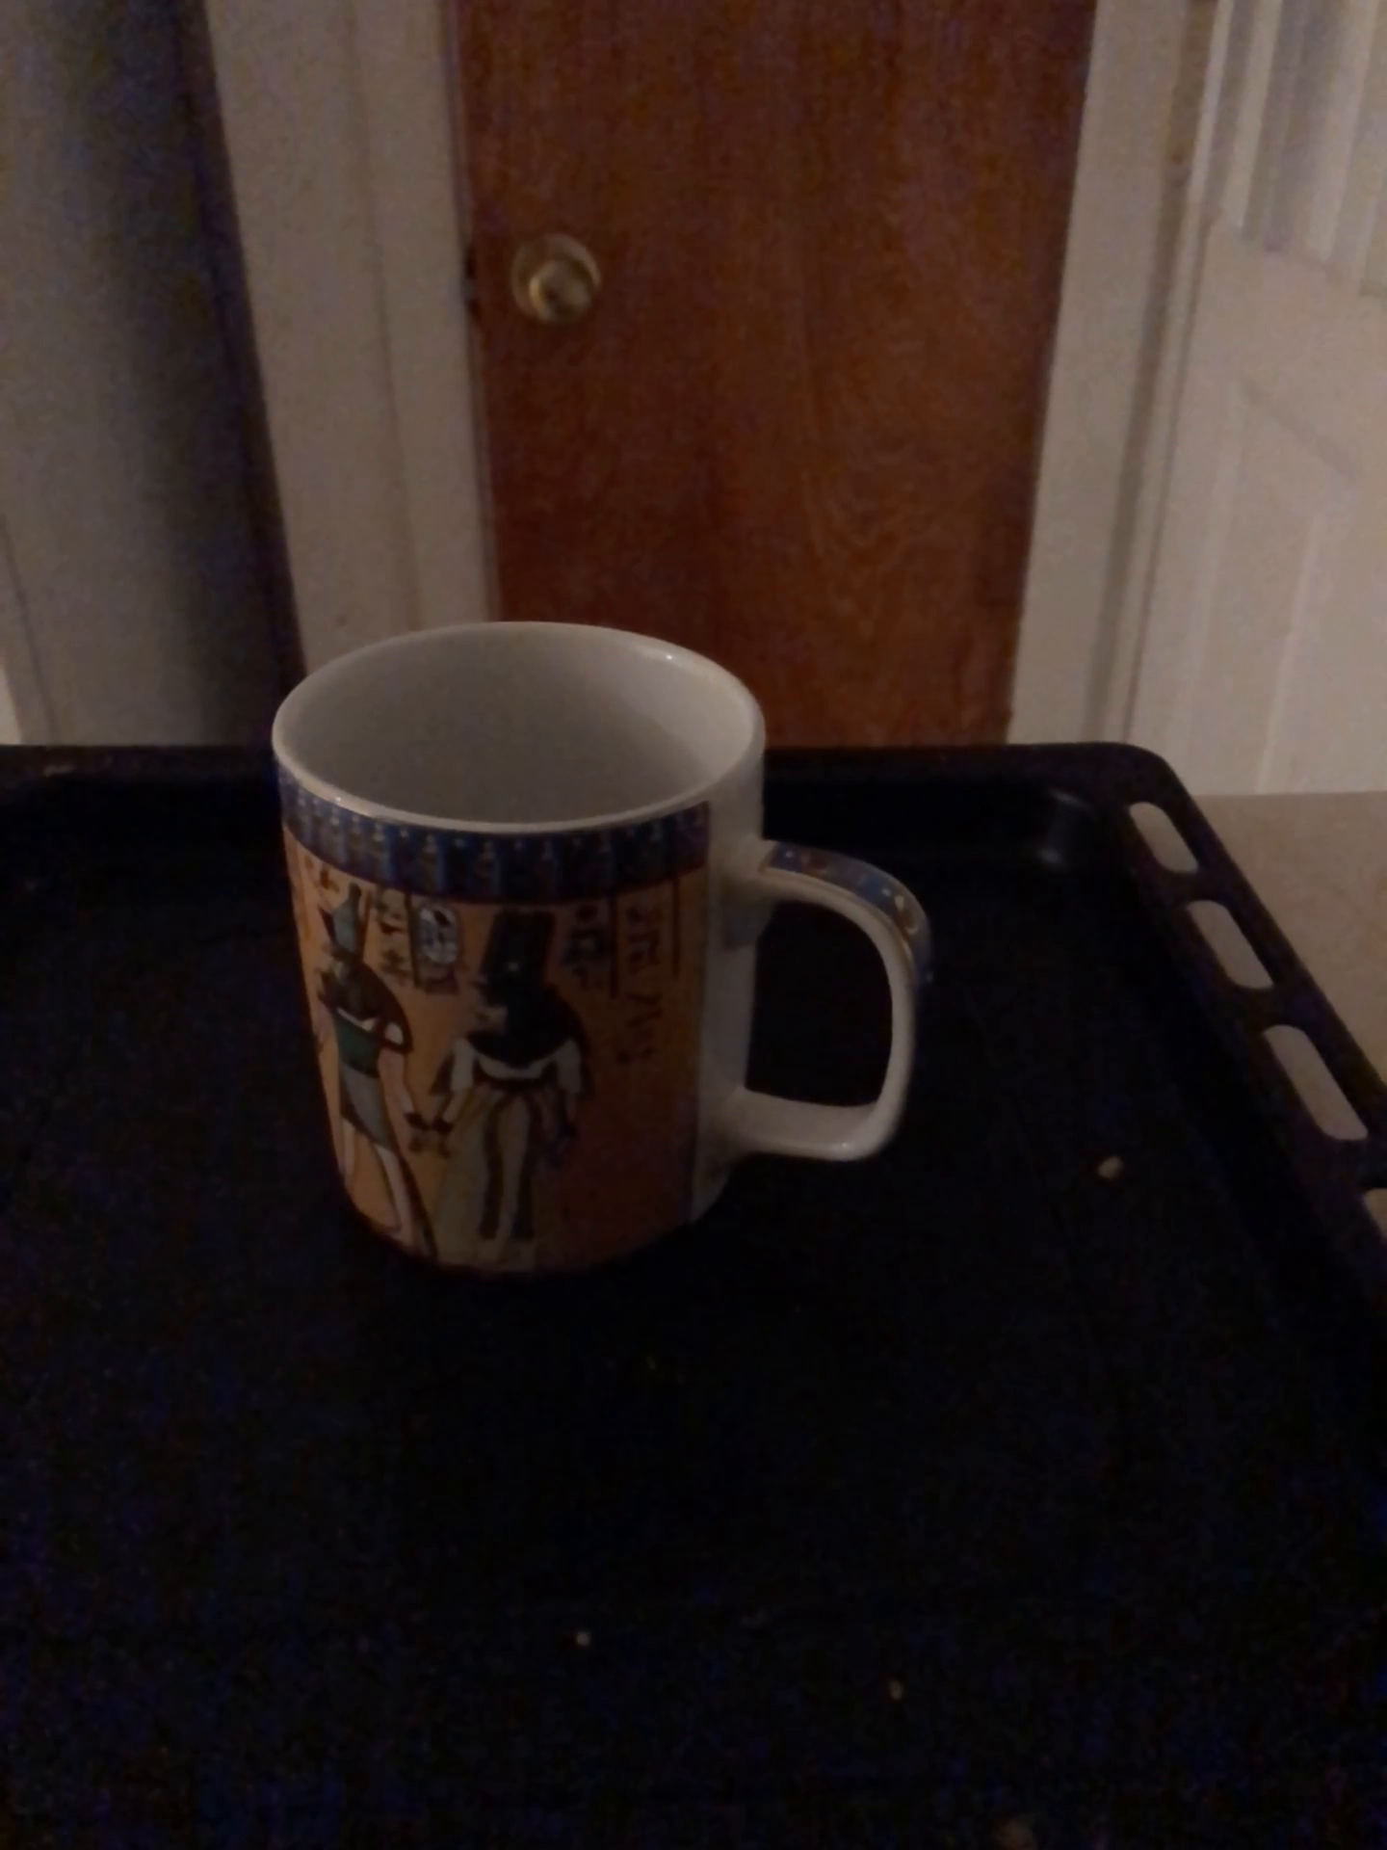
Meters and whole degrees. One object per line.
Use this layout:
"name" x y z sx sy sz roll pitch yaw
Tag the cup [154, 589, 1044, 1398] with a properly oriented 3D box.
"cup" -0.011 0.005 0.270 0.120 0.089 0.081 12 35 17
